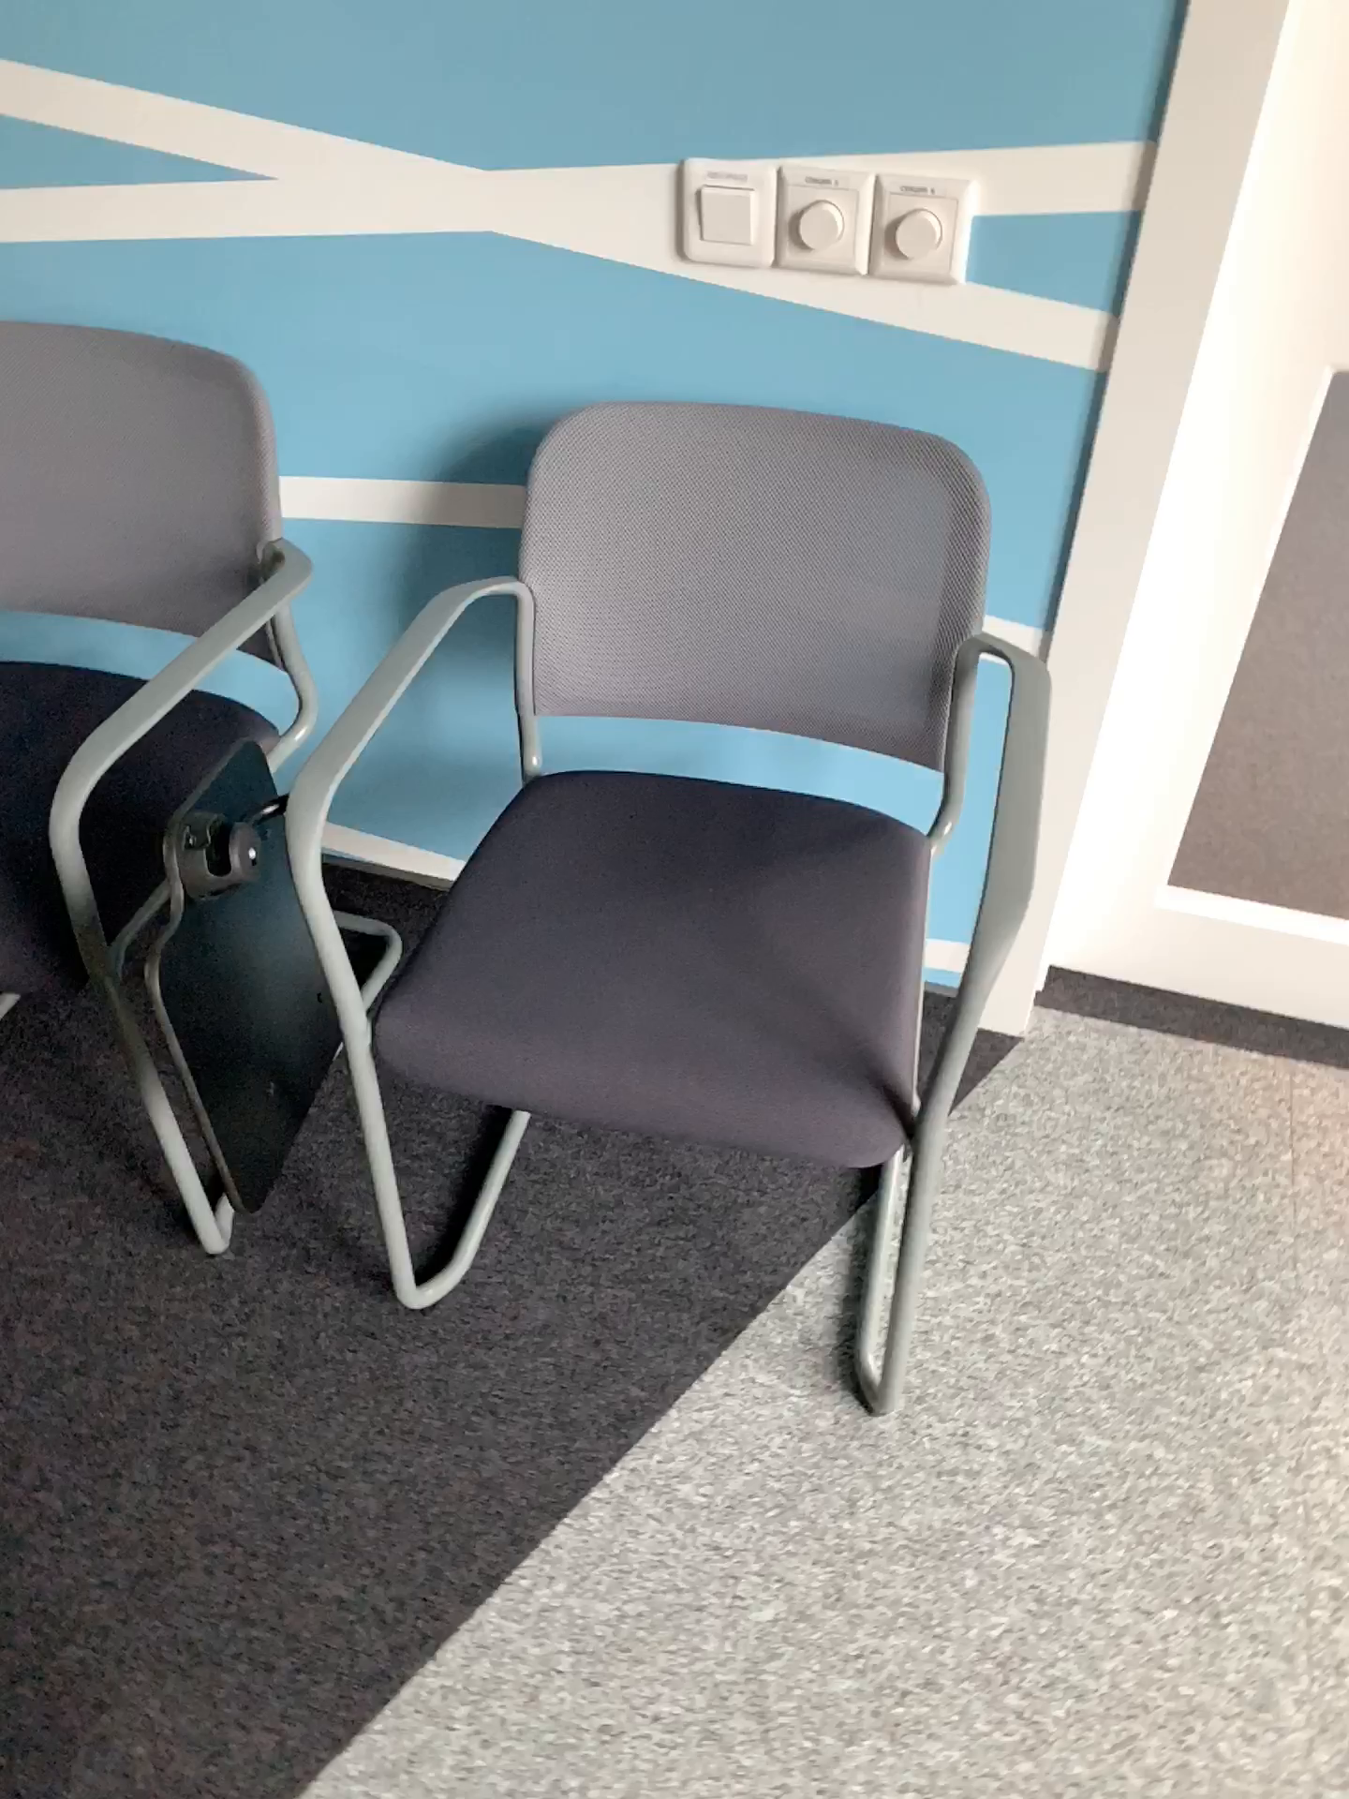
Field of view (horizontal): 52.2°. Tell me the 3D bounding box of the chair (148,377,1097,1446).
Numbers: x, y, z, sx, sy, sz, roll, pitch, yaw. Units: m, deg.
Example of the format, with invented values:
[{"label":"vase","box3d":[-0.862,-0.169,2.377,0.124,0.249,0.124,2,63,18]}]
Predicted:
[{"label":"chair","box3d":[0.022,-0.013,1.262,0.570,0.627,0.643,10,44,10]}]
